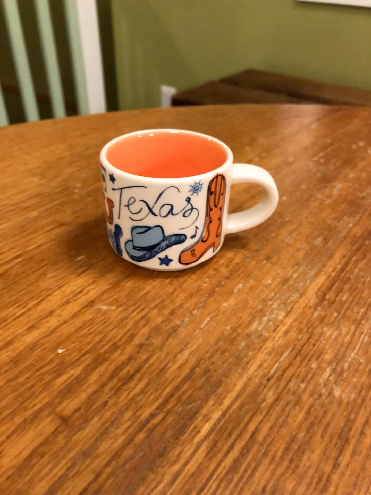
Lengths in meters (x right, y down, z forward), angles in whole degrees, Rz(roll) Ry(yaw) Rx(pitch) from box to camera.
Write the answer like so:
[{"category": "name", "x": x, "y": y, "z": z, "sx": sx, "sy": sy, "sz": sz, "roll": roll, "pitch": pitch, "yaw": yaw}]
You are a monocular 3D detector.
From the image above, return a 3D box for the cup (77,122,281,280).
[{"category": "cup", "x": -0.002, "y": -0.024, "z": 0.195, "sx": 0.076, "sy": 0.046, "sz": 0.064, "roll": 2, "pitch": 35, "yaw": 1}]
